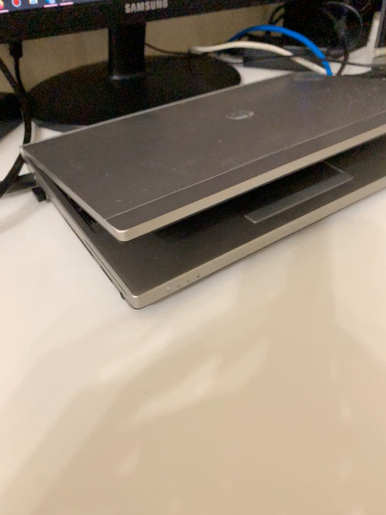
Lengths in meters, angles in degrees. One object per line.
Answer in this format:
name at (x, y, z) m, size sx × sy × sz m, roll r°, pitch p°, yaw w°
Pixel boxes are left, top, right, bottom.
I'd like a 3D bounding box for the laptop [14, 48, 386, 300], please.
laptop at (0.041, -0.097, 0.312) m, size 0.293 × 0.029 × 0.184 m, roll -25°, pitch 48°, yaw -24°
